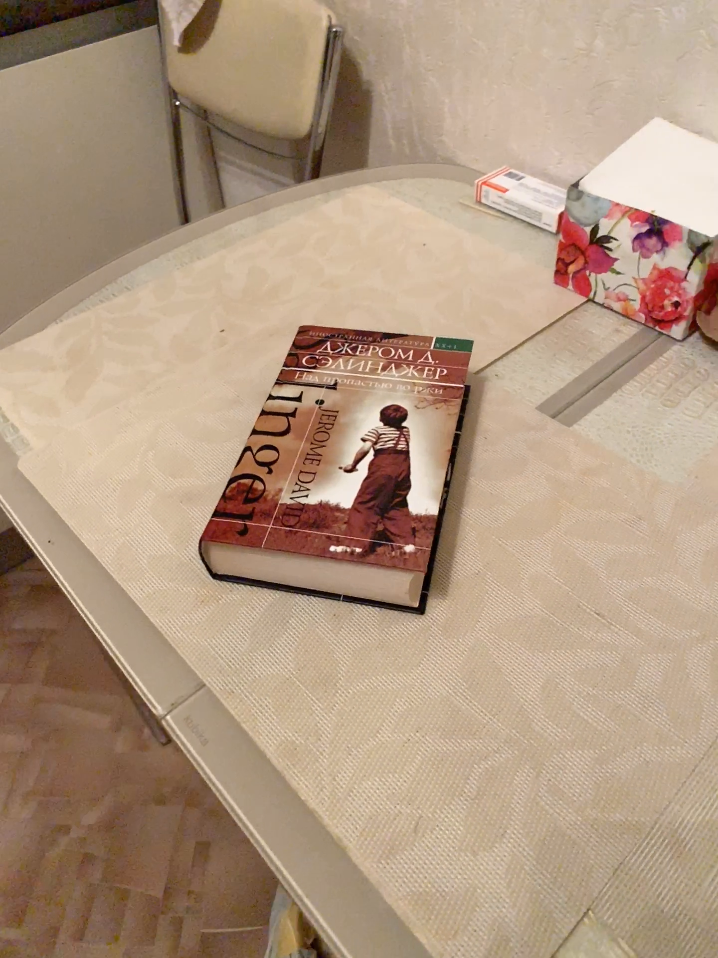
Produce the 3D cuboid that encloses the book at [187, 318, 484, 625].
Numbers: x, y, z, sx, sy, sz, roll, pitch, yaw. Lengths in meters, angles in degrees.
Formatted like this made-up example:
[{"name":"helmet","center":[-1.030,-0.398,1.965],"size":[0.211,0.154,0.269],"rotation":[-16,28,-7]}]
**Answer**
[{"name":"book","center":[-0.003,-0.019,0.512],"size":[0.150,0.049,0.222],"rotation":[7,49,12]}]
